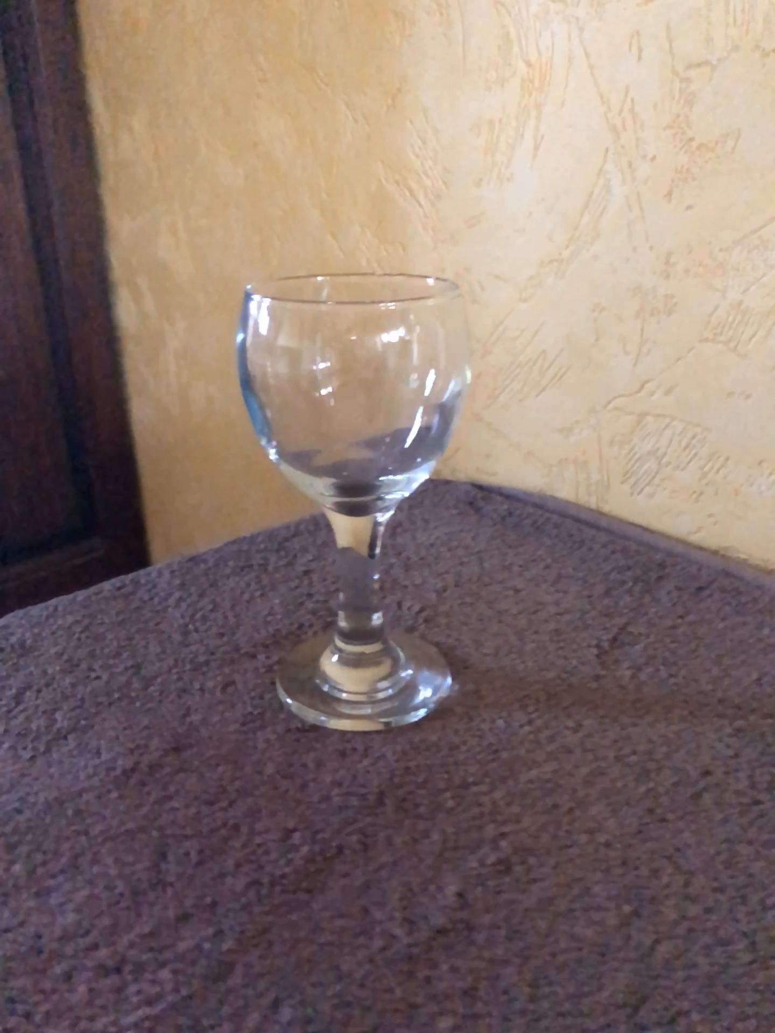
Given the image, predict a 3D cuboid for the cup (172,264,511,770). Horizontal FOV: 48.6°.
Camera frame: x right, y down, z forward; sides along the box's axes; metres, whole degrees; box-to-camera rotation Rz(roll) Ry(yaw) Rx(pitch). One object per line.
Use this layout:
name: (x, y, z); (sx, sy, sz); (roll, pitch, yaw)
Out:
cup: (-0.008, -0.006, 0.261); (0.070, 0.129, 0.070); (-1, 21, 0)
